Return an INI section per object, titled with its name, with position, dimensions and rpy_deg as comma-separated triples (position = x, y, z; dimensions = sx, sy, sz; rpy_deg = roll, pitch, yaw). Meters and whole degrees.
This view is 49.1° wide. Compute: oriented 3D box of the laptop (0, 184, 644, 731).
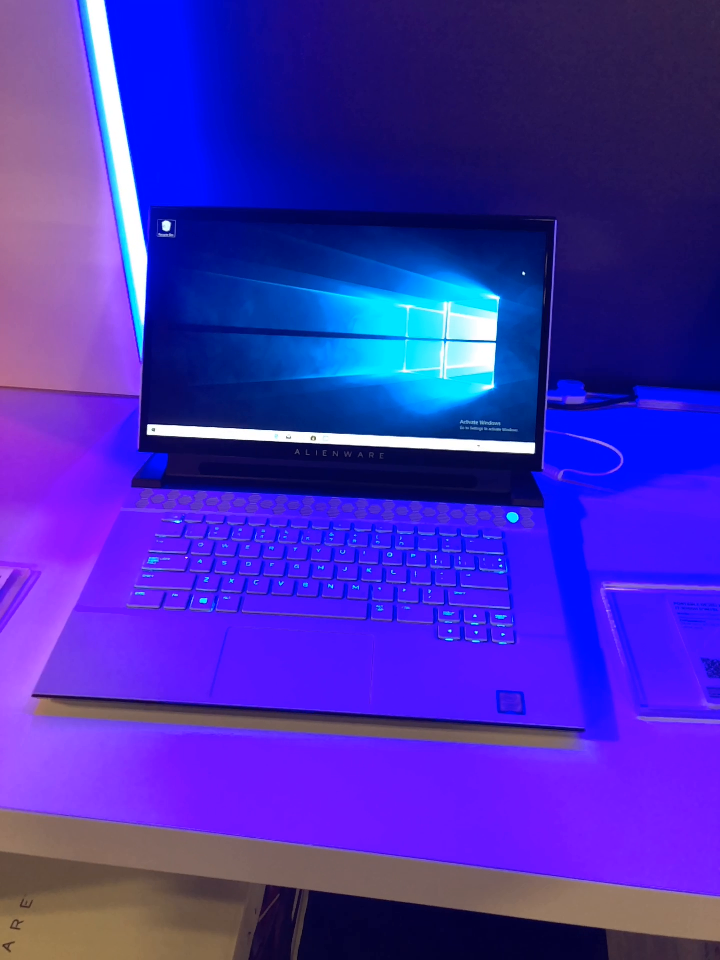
[laptop]
position = -0.025, -0.052, 0.604
dimensions = 0.356, 0.194, 0.381
rpy_deg = 3, 39, 3
